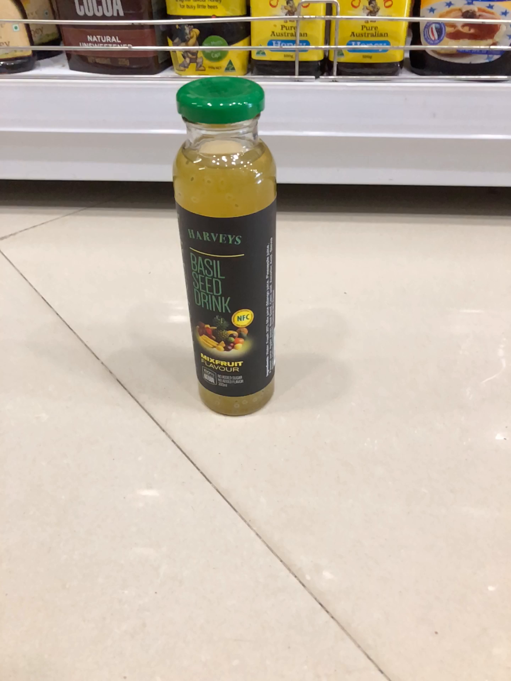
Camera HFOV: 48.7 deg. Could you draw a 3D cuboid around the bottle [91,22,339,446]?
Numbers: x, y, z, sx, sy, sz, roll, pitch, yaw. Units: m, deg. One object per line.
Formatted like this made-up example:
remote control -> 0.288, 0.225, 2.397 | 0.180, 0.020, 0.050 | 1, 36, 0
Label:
bottle -> -0.013, -0.047, 0.298 | 0.080, 0.199, 0.071 | 15, 42, 19
